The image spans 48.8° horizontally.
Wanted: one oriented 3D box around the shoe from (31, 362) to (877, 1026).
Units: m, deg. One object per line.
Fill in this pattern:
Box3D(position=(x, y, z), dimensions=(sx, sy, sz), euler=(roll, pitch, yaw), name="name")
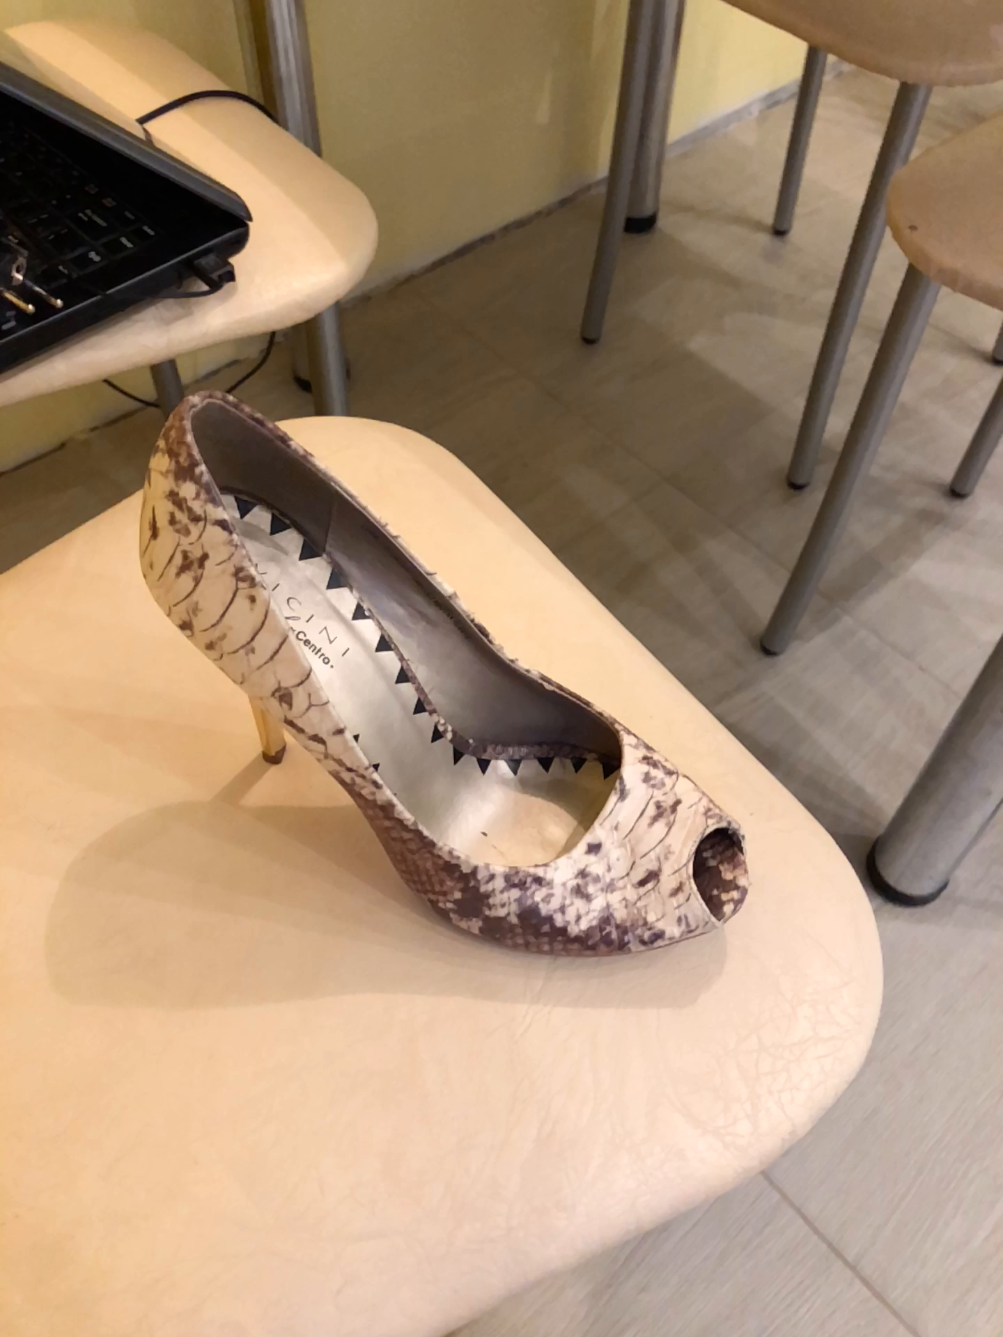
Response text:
Box3D(position=(-0.013, 0.010, 0.333), dimensions=(0.200, 0.129, 0.080), euler=(19, 55, 12), name="shoe")
